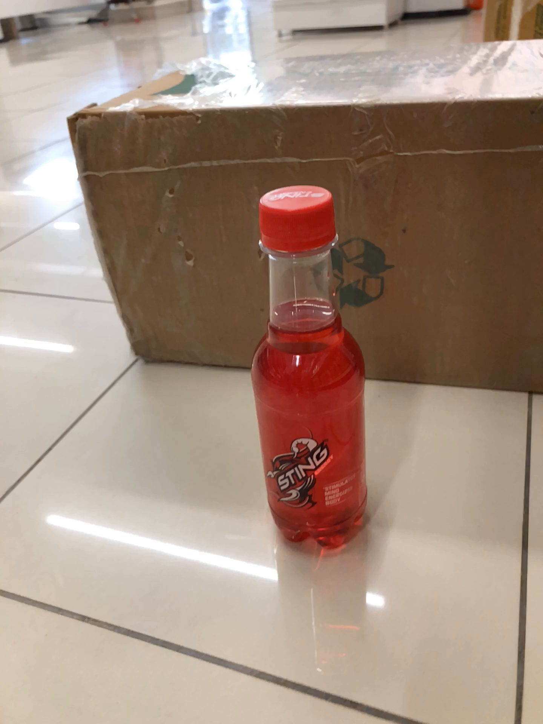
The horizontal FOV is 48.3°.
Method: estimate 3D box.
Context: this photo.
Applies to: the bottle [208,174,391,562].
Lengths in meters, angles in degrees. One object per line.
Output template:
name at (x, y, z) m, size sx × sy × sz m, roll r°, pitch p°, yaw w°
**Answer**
bottle at (0.021, 0.007, 0.295) m, size 0.060 × 0.179 × 0.060 m, roll -4°, pitch 32°, yaw 3°
